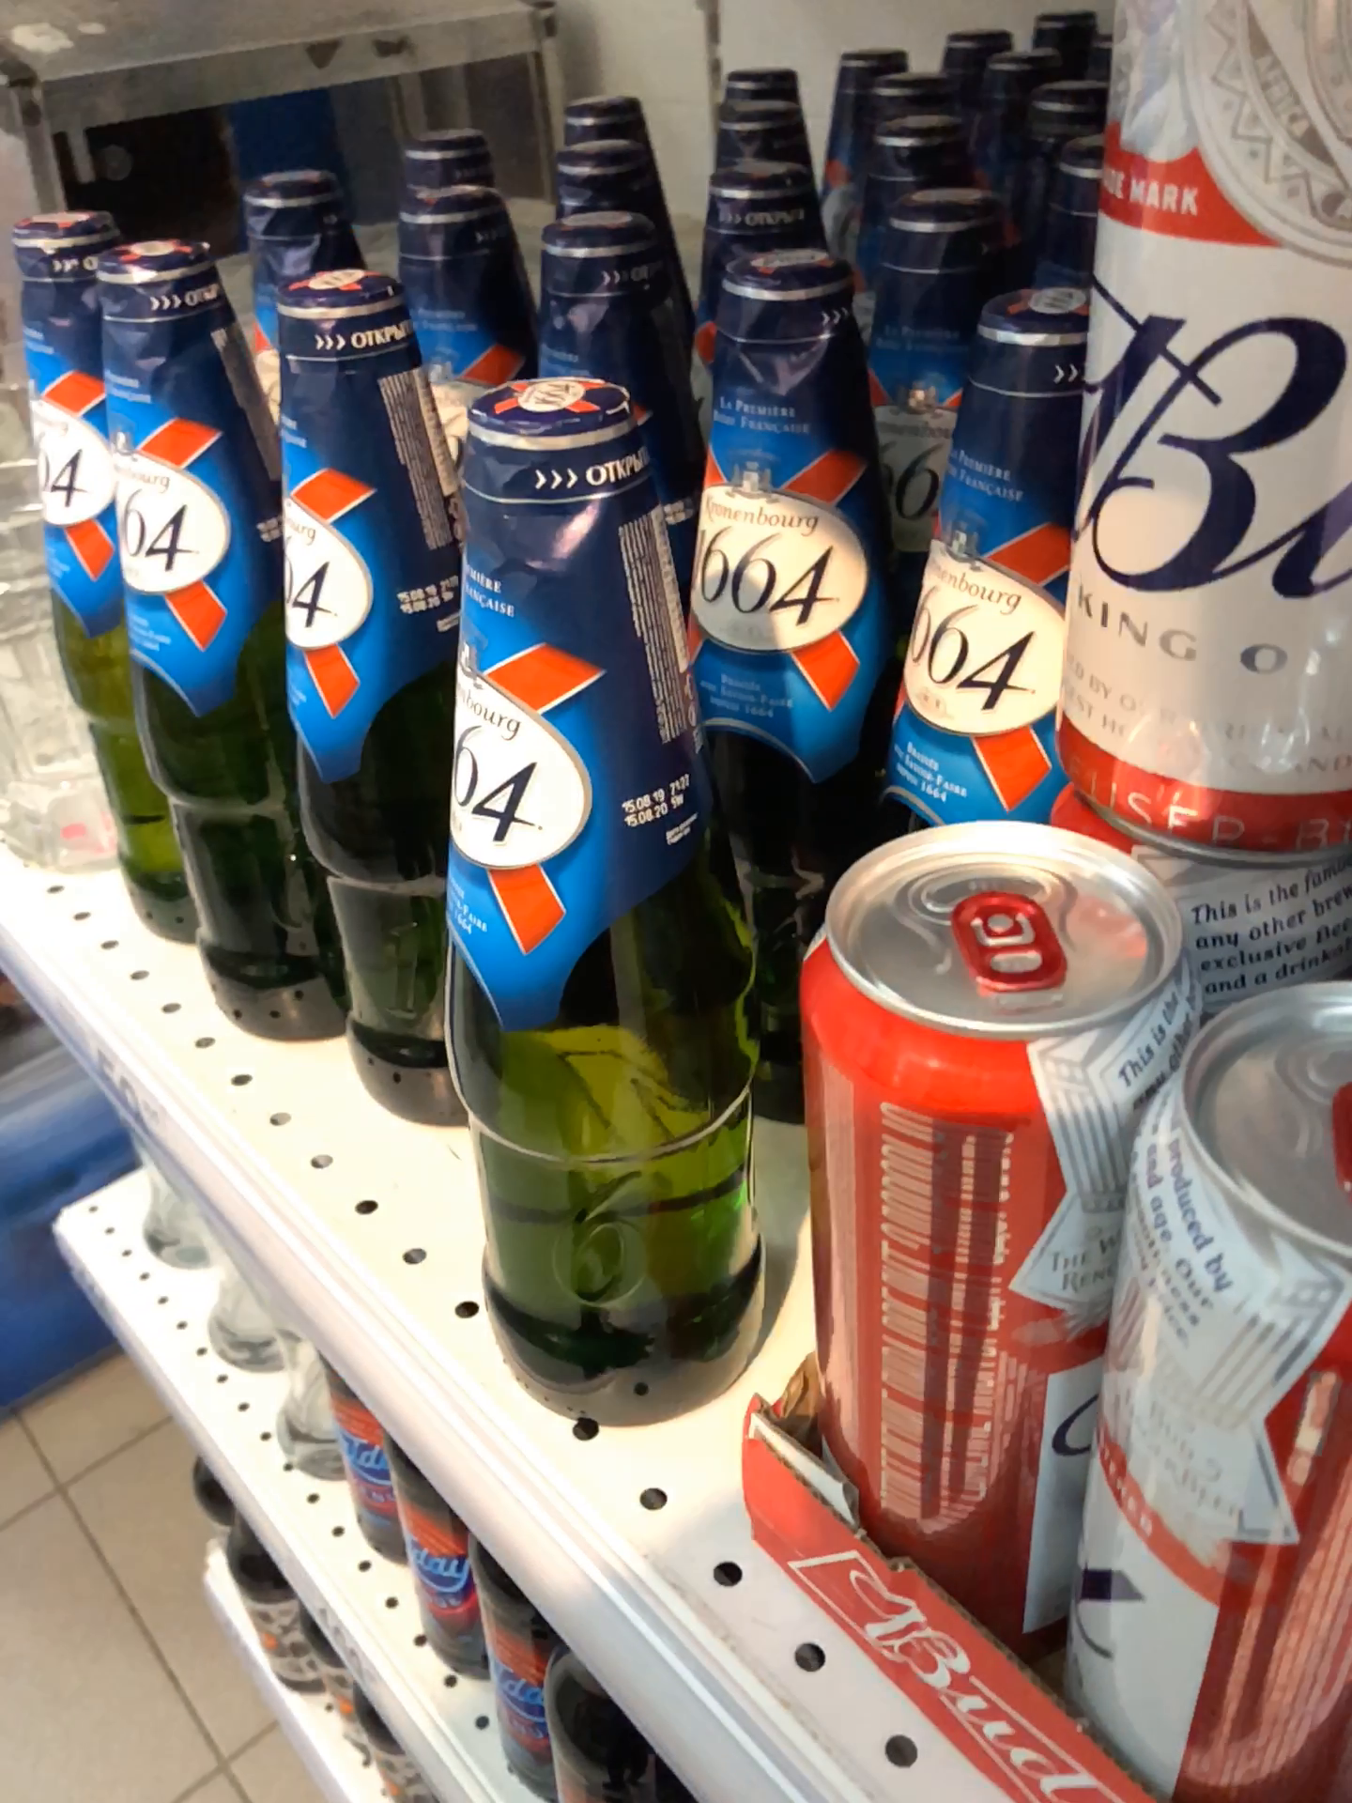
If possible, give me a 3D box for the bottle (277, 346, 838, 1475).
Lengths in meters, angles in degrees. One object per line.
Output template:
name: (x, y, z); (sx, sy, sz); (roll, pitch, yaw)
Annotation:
bottle: (-0.018, 0.010, 0.317); (0.080, 0.219, 0.080); (-3, 34, 2)
